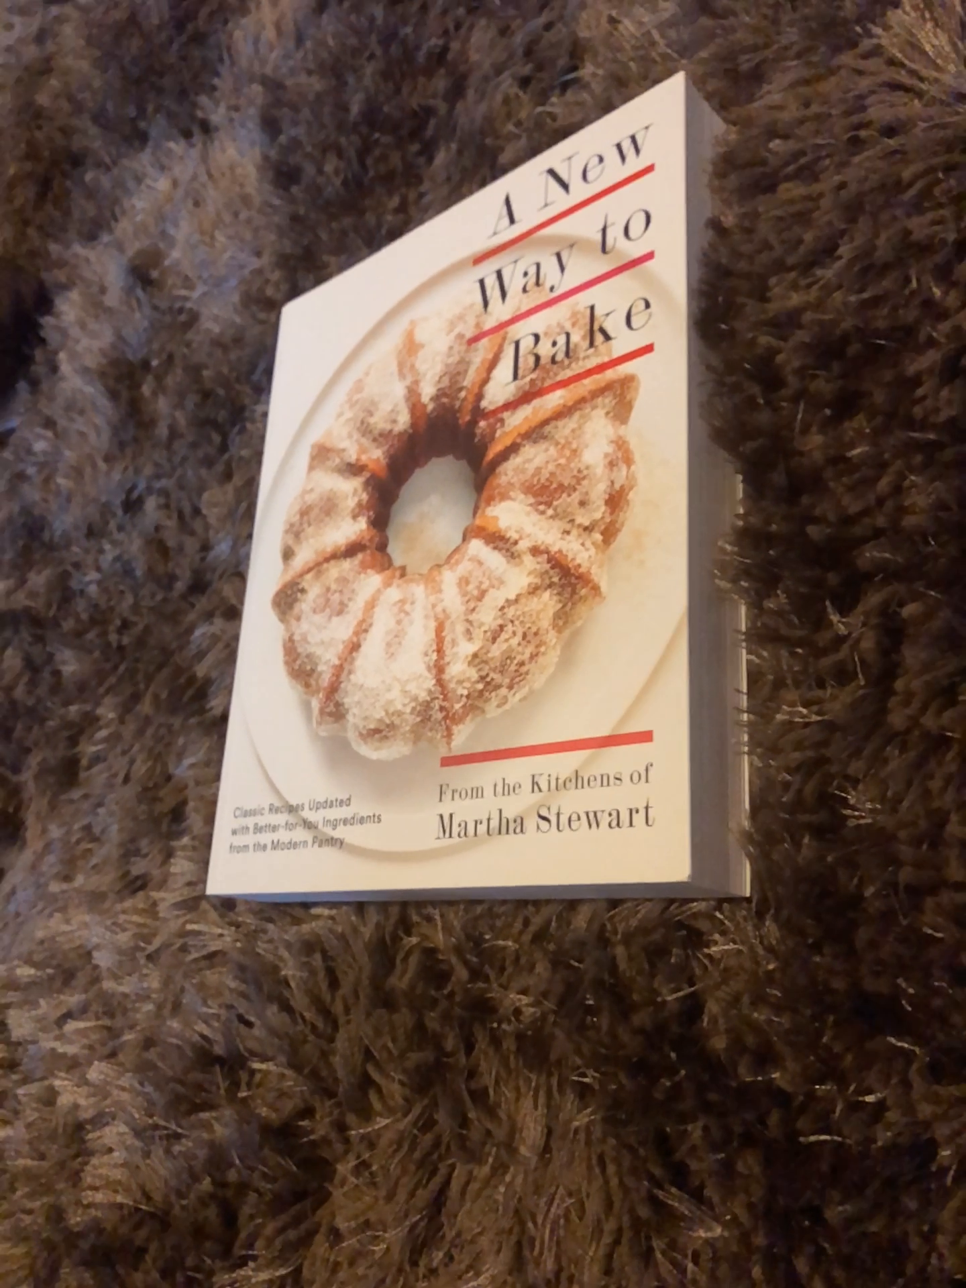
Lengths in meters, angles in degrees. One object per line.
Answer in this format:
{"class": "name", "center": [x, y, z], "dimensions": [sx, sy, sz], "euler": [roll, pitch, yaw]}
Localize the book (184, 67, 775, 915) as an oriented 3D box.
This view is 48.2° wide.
{"class": "book", "center": [-0.008, -0.034, 0.347], "dimensions": [0.193, 0.040, 0.229], "euler": [-13, 66, 40]}
